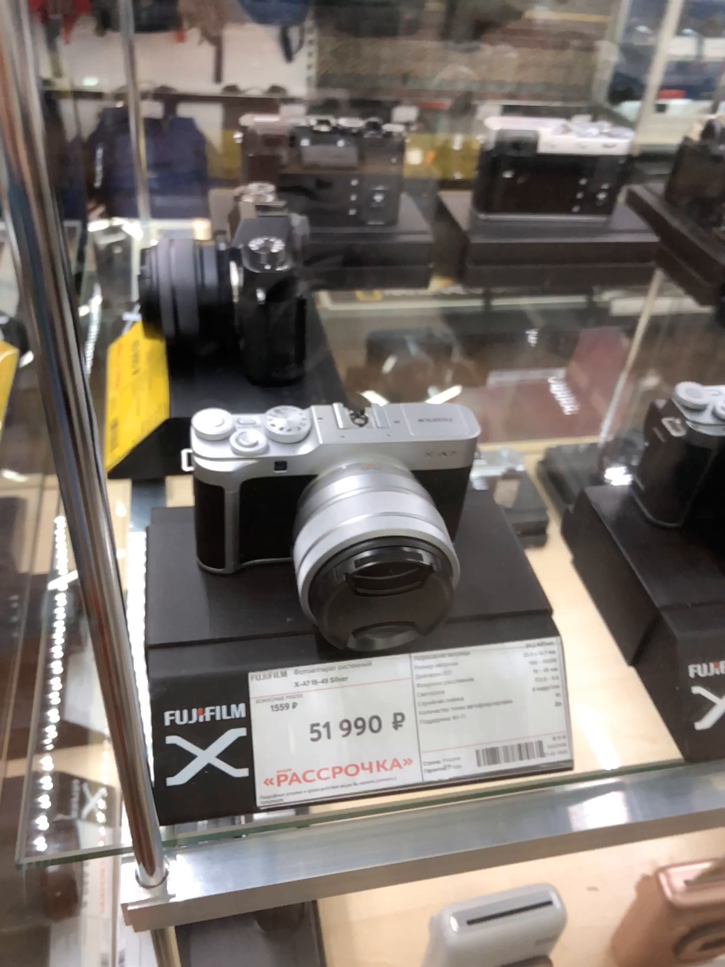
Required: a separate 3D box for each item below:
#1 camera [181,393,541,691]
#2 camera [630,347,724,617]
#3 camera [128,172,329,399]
[{"bbox_3d":[-0.009,0.021,0.334,0.126,0.080,0.085,-3,40,-11],"label":"camera"},{"bbox_3d":[0.214,-0.005,0.388,0.115,0.080,0.096,-4,41,-12],"label":"camera"},{"bbox_3d":[-0.080,-0.116,0.461,0.097,0.080,0.116,-4,41,-13],"label":"camera"}]
